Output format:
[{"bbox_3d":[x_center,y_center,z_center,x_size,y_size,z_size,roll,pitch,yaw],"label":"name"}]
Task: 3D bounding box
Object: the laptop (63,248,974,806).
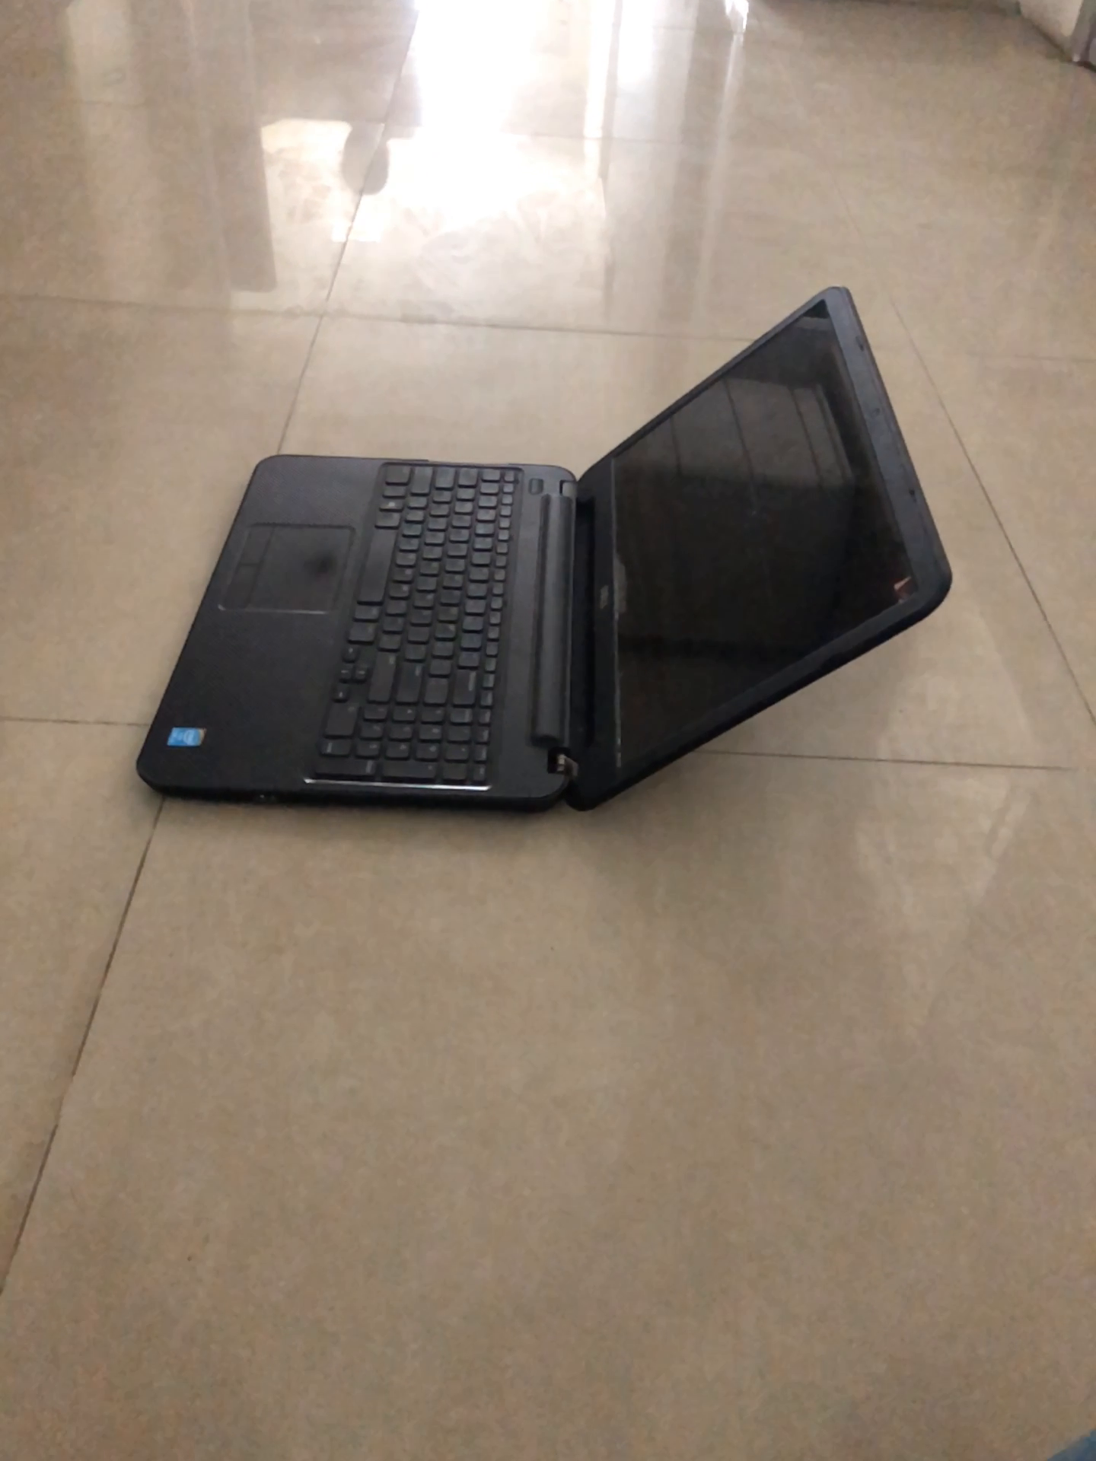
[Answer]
[{"bbox_3d":[-0.012,-0.145,0.752,0.427,0.163,0.360,2,43,0],"label":"laptop"}]
